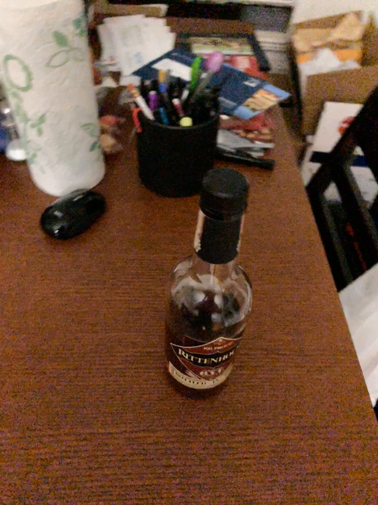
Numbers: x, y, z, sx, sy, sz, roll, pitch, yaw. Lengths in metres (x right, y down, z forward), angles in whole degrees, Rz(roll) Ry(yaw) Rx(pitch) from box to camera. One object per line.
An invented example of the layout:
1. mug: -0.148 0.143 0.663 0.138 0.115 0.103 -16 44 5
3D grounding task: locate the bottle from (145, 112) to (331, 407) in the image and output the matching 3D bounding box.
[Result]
1. bottle: 0.017 0.034 0.349 0.090 0.289 0.090 2 51 -3
